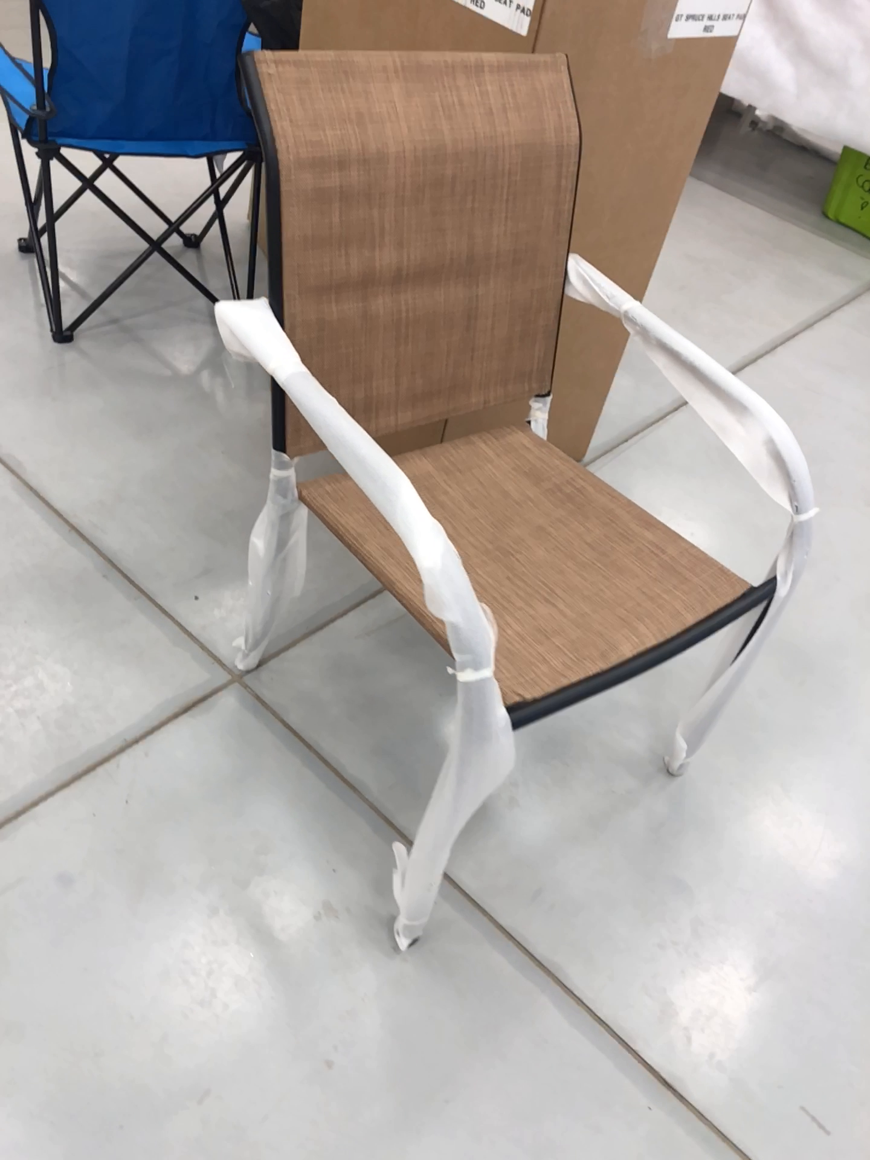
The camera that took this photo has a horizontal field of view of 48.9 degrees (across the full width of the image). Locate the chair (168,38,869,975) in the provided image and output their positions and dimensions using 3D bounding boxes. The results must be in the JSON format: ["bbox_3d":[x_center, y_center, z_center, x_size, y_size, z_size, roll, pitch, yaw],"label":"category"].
[{"bbox_3d":[0.091,-0.109,1.239,0.621,0.877,0.631,-21,53,-33],"label":"chair"}]
